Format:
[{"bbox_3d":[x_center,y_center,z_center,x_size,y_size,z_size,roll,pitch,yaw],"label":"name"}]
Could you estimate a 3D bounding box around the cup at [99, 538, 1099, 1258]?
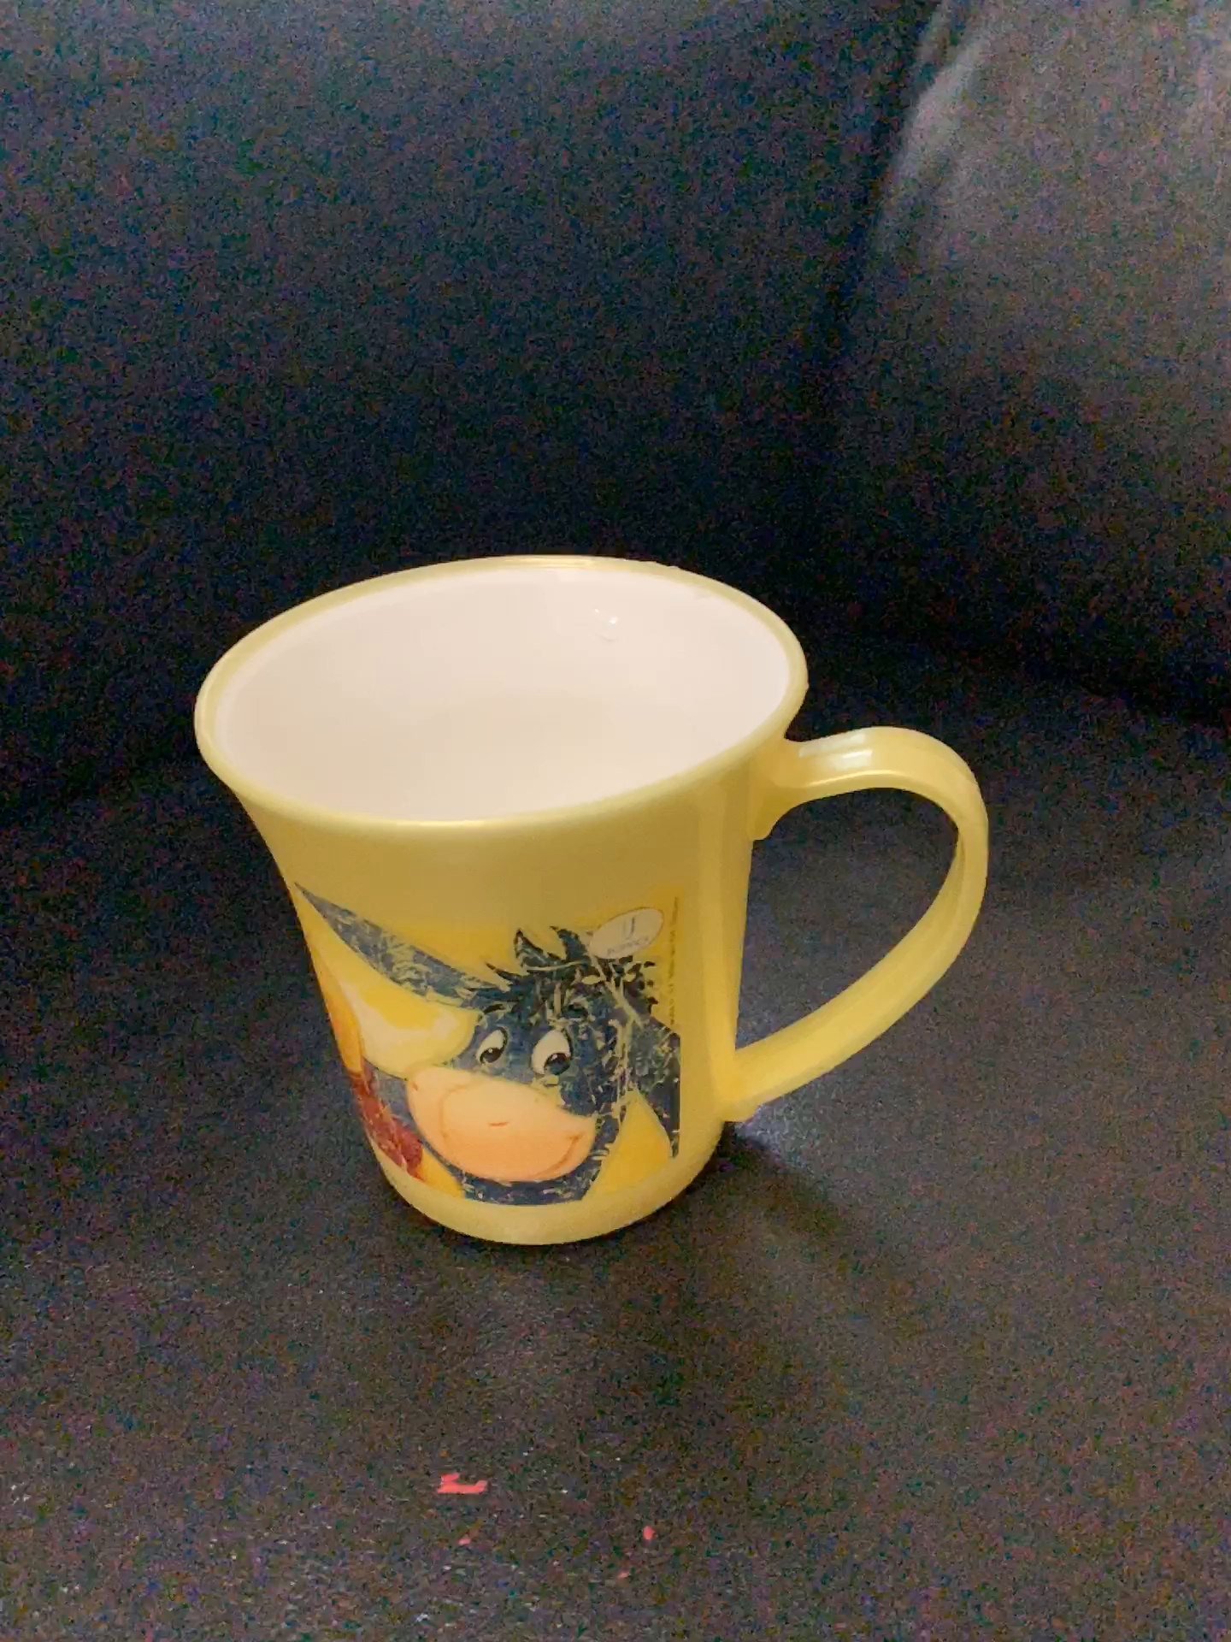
[{"bbox_3d":[0.001,0.008,0.212,0.120,0.080,0.090,-1,30,4],"label":"cup"}]
